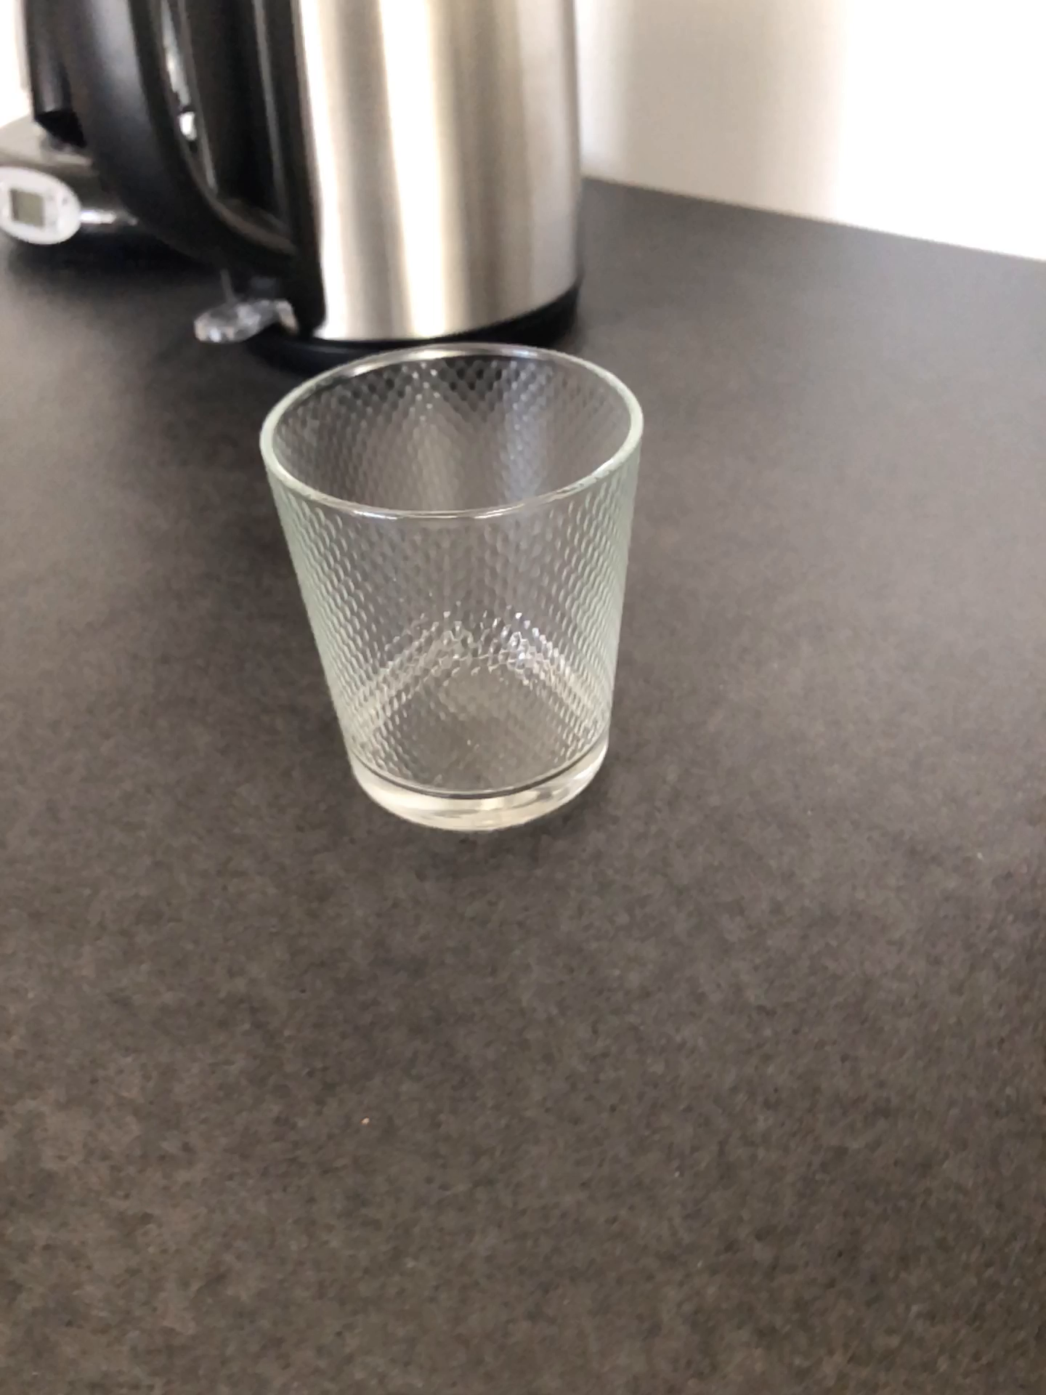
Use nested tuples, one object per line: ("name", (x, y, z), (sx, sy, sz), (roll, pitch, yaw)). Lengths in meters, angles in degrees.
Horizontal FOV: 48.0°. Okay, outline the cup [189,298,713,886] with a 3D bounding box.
("cup", (-0.008, -0.026, 0.259), (0.080, 0.089, 0.081), (-2, 39, 1))
